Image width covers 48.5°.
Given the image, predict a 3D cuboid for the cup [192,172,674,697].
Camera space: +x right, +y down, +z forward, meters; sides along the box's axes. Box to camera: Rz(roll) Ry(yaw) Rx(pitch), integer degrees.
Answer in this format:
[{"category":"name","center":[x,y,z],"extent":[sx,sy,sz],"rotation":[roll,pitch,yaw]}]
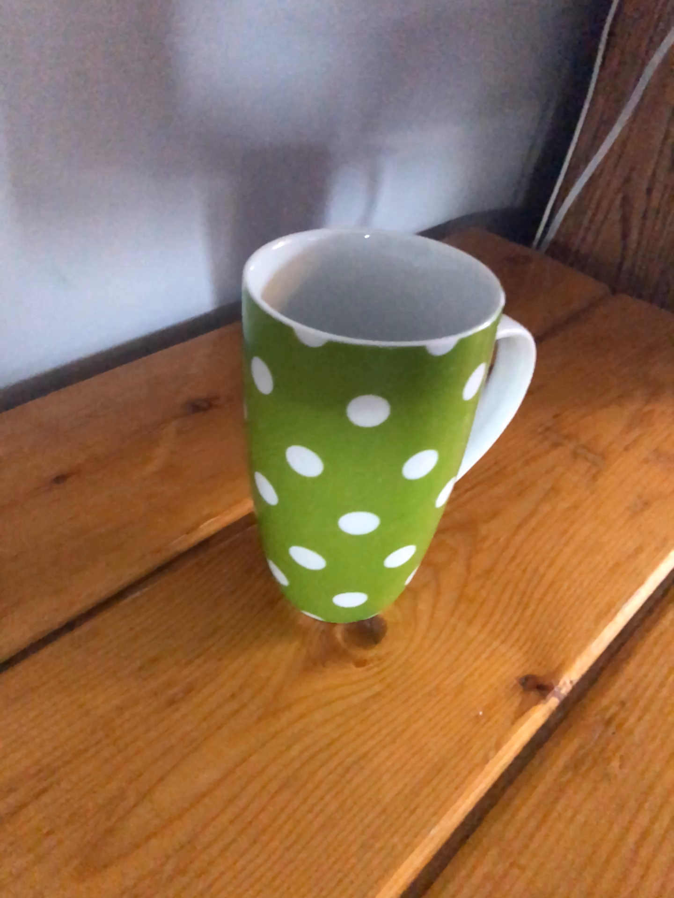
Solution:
[{"category":"cup","center":[0.032,-0.013,0.311],"extent":[0.150,0.150,0.100],"rotation":[-23,49,-32]}]
